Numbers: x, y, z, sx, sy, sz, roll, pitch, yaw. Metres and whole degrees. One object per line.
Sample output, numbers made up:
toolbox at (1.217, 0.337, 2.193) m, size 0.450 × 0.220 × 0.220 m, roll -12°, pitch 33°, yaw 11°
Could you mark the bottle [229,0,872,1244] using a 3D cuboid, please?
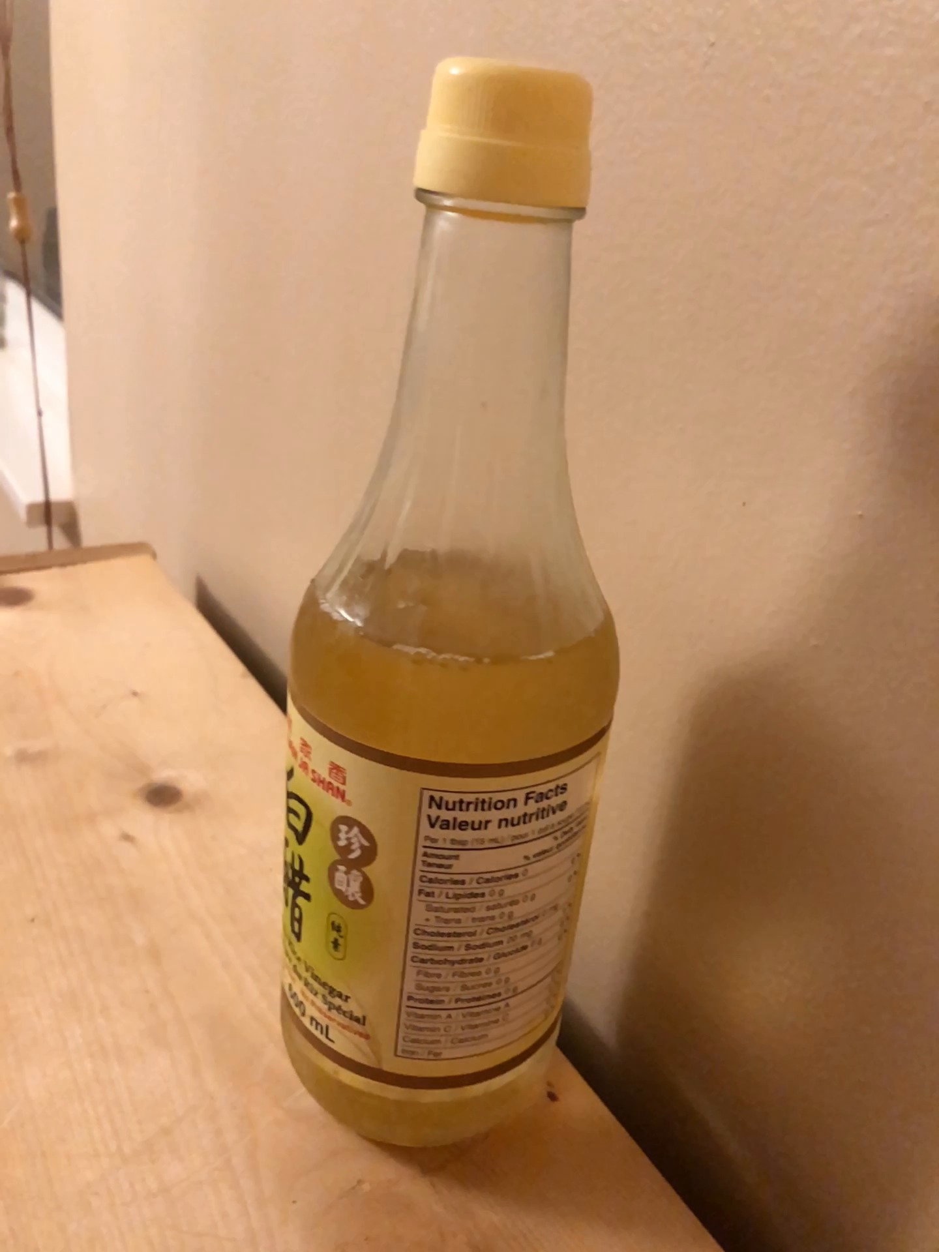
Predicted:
bottle at (-0.001, 0.007, 0.230) m, size 0.080 × 0.239 × 0.080 m, roll 5°, pitch 25°, yaw -2°
